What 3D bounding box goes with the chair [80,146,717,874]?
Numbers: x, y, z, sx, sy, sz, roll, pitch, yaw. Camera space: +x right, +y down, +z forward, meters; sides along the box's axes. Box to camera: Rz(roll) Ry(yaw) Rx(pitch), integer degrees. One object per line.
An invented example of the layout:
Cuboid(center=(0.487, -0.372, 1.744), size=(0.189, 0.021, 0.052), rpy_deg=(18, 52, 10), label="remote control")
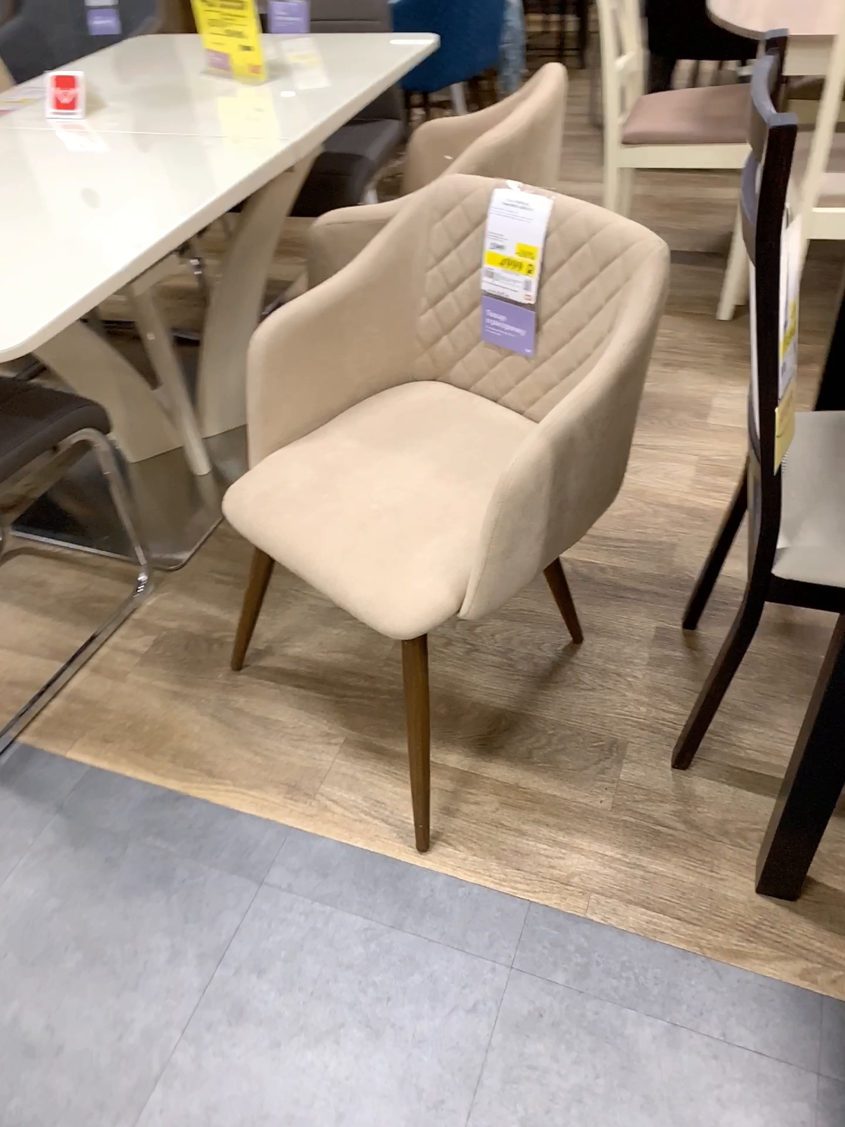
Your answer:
Cuboid(center=(-0.013, -0.098, 1.393), size=(0.571, 0.835, 0.602), rpy_deg=(-35, 49, -28), label="chair")
